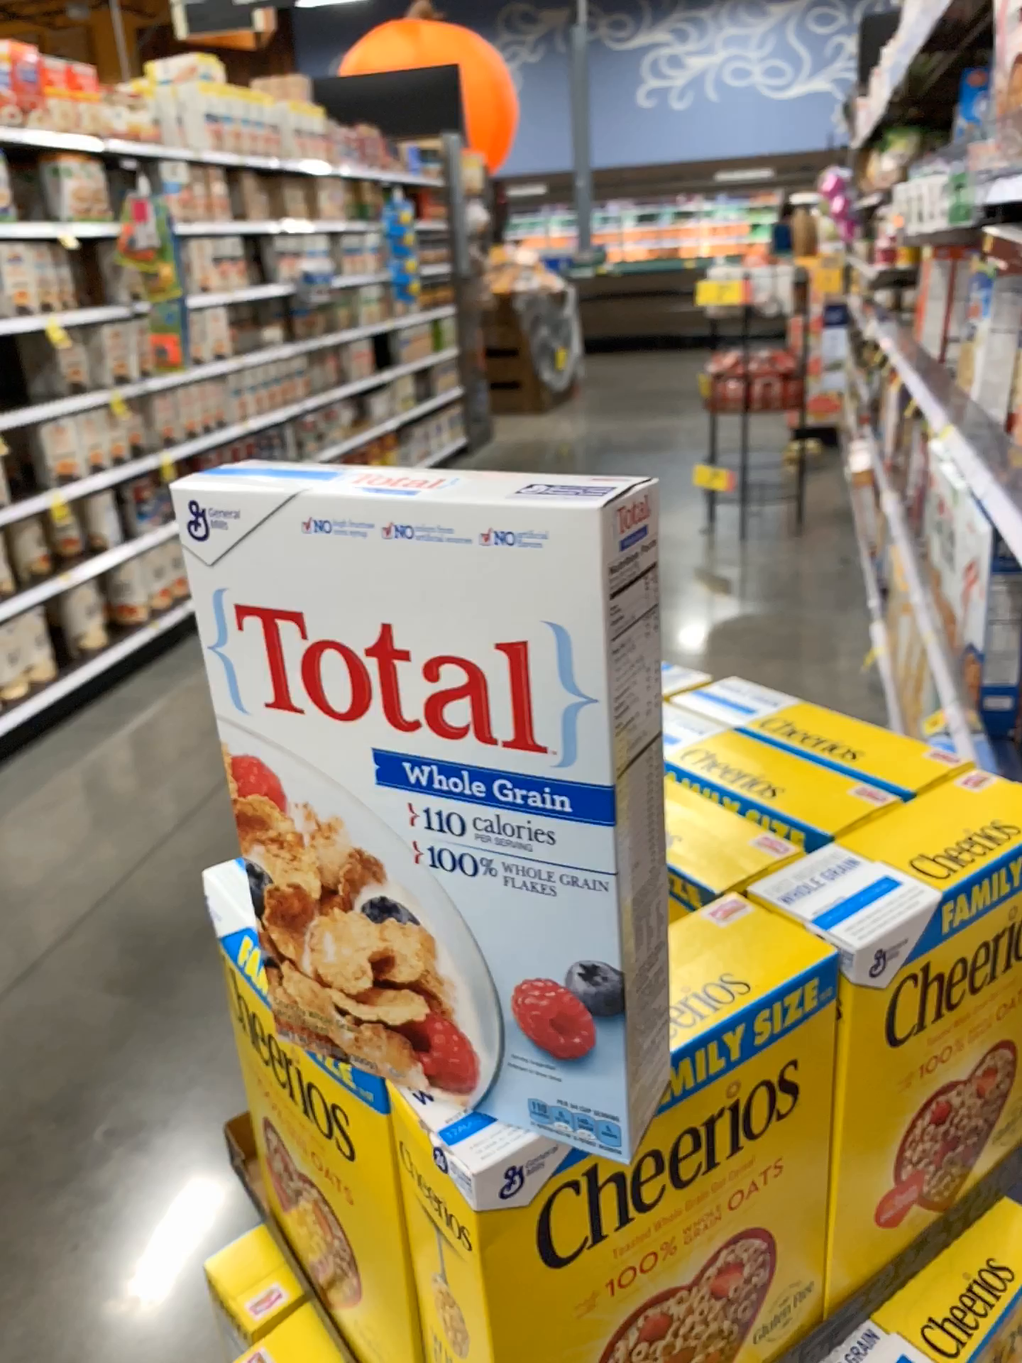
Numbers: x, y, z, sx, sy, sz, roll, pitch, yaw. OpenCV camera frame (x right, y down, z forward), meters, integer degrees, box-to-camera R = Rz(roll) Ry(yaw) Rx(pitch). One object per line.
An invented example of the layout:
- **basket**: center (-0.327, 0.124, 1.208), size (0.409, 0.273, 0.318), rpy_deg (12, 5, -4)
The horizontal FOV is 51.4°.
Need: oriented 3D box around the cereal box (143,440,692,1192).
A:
- **cereal box**: center (-0.034, 0.052, 0.456), size (0.210, 0.299, 0.050), rpy_deg (7, 25, 29)
